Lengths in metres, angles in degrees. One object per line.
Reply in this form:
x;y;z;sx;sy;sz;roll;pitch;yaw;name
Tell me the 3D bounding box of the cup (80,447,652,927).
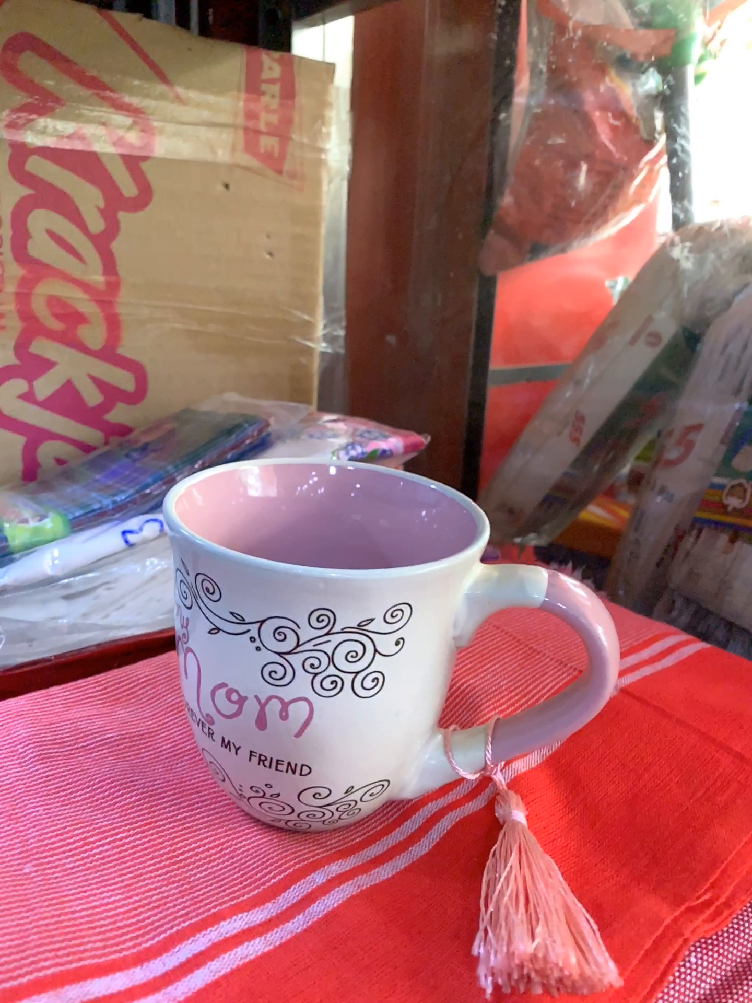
0.002;0.040;0.228;0.130;0.080;0.094;6;18;12;cup
